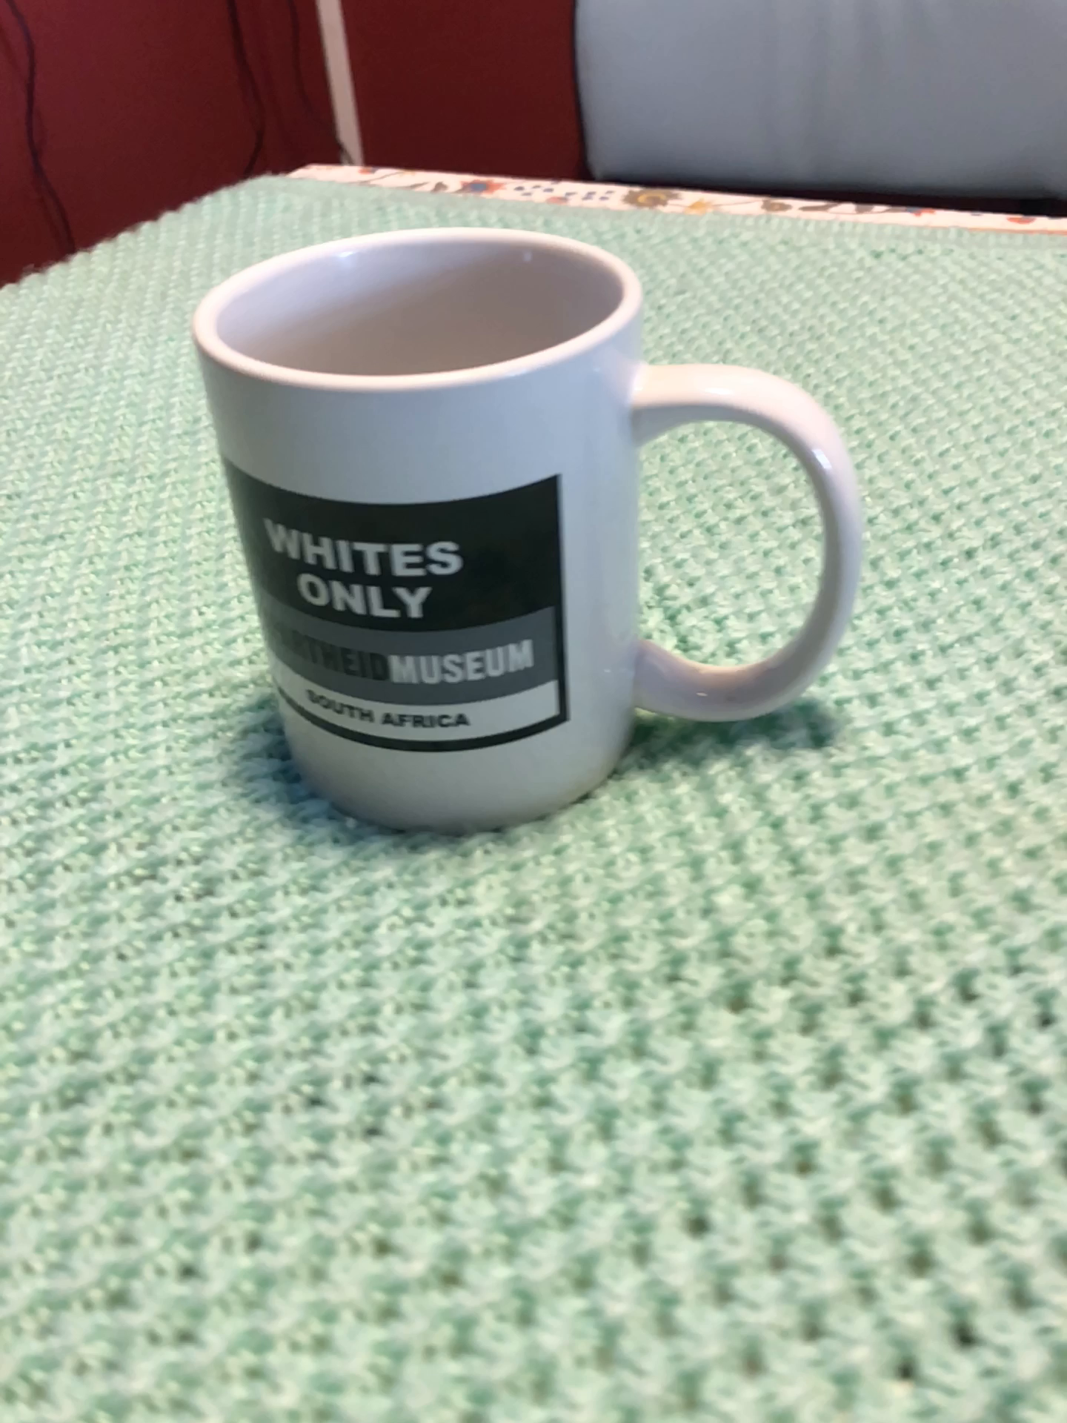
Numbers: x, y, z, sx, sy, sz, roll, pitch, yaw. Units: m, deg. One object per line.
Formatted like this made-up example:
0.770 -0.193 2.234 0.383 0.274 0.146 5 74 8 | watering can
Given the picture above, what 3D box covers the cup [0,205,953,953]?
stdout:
-0.006 -0.033 0.215 0.140 0.079 0.101 8 38 12 | cup
